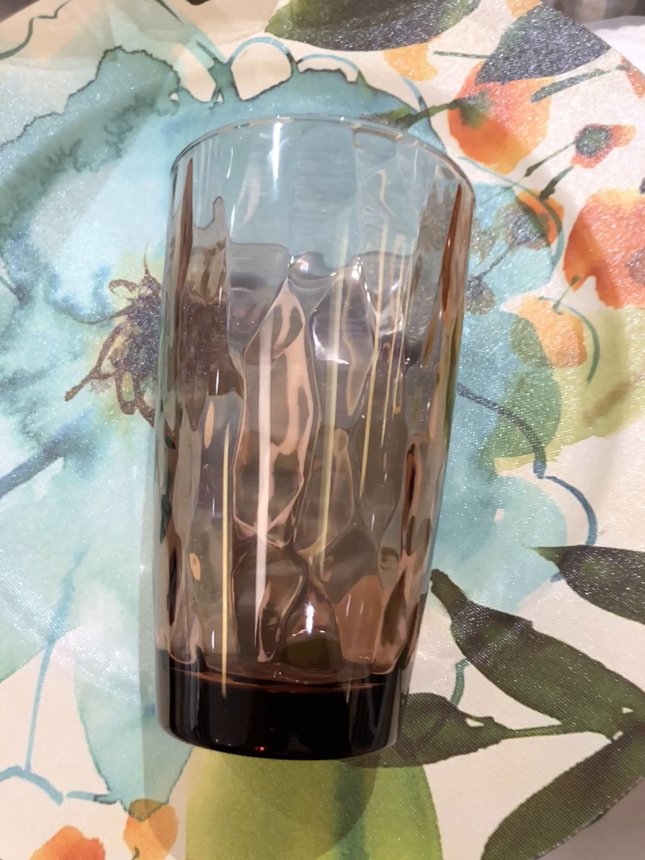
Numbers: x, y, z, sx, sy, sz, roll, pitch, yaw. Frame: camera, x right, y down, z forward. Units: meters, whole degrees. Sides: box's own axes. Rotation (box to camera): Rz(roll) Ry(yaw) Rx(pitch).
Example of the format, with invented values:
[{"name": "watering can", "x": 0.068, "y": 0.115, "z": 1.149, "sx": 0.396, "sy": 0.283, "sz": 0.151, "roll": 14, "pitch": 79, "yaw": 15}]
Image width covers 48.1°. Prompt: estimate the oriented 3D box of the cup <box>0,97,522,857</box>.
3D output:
[{"name": "cup", "x": -0.005, "y": 0.008, "z": 0.183, "sx": 0.090, "sy": 0.080, "sz": 0.150, "roll": 3, "pitch": 73, "yaw": 3}]
